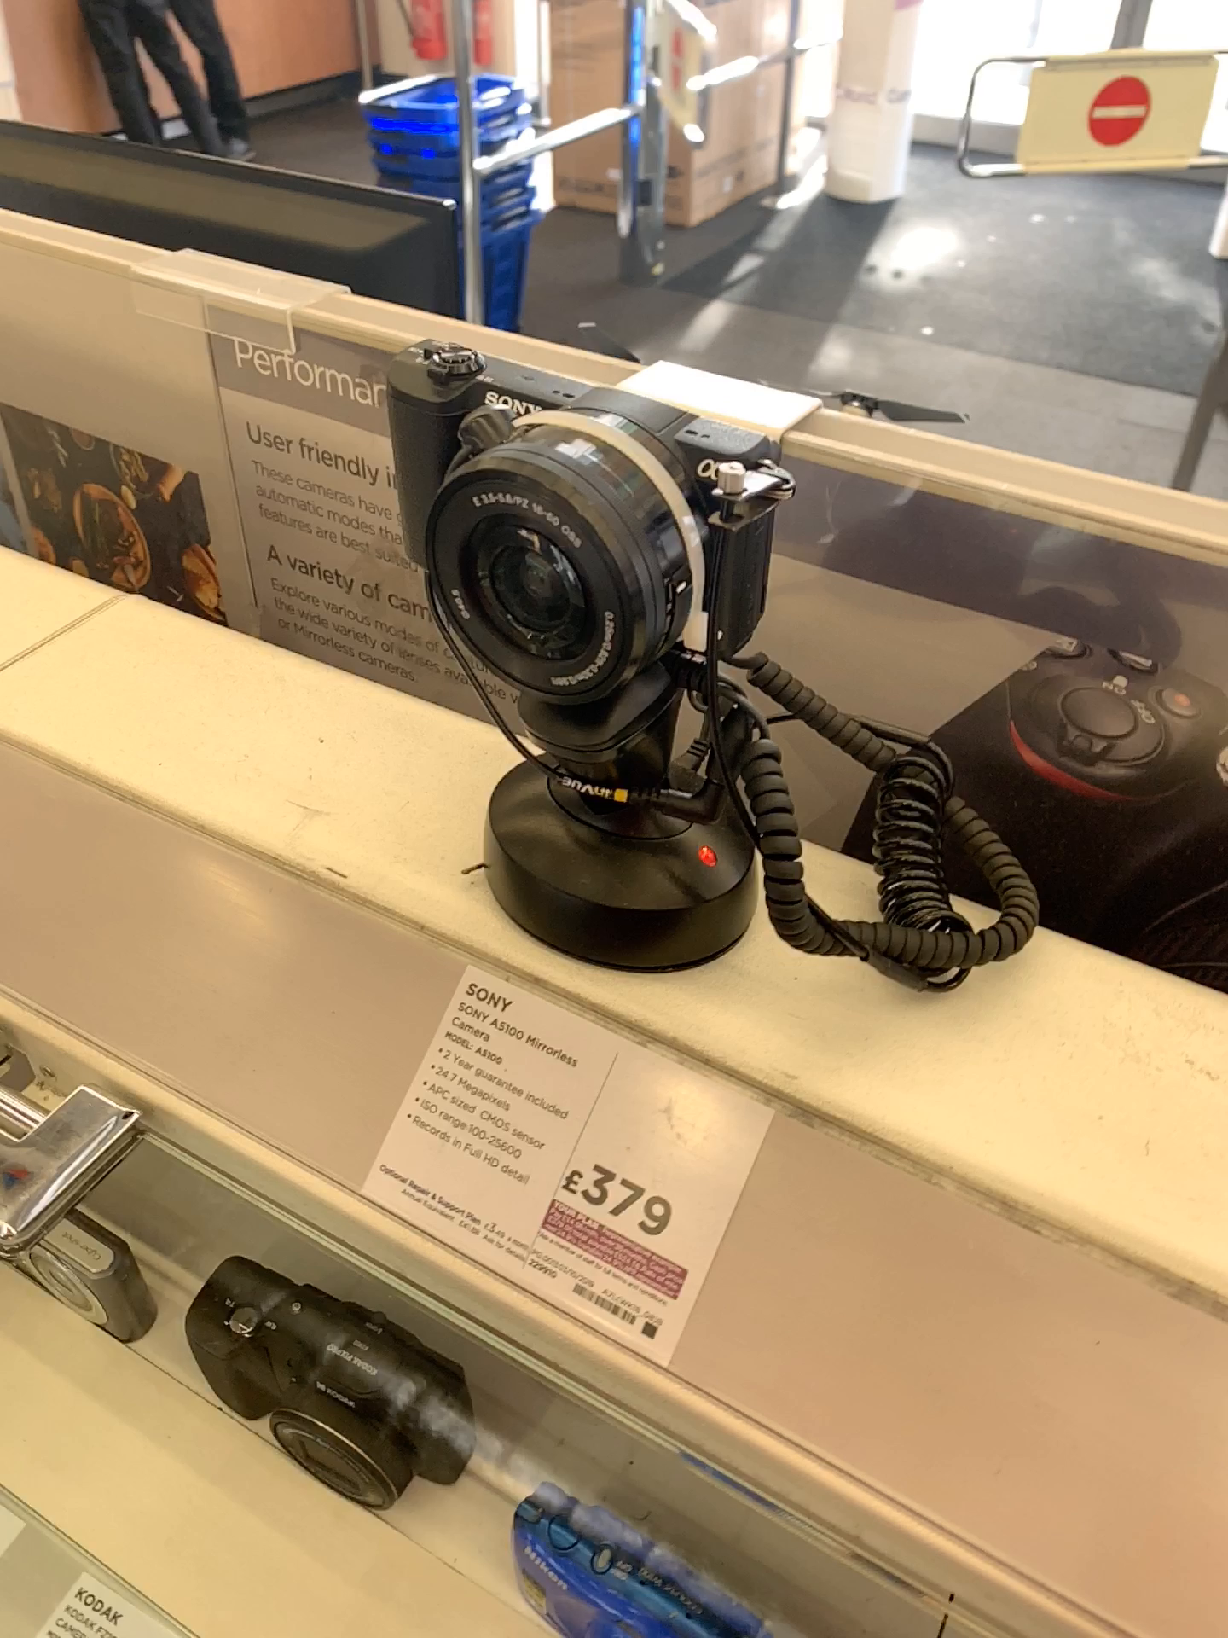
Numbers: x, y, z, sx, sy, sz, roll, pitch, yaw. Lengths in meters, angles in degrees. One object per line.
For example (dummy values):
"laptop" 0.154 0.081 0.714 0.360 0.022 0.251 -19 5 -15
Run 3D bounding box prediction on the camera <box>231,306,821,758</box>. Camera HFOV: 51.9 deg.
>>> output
"camera" -0.022 -0.080 0.328 0.120 0.059 0.081 23 44 24
